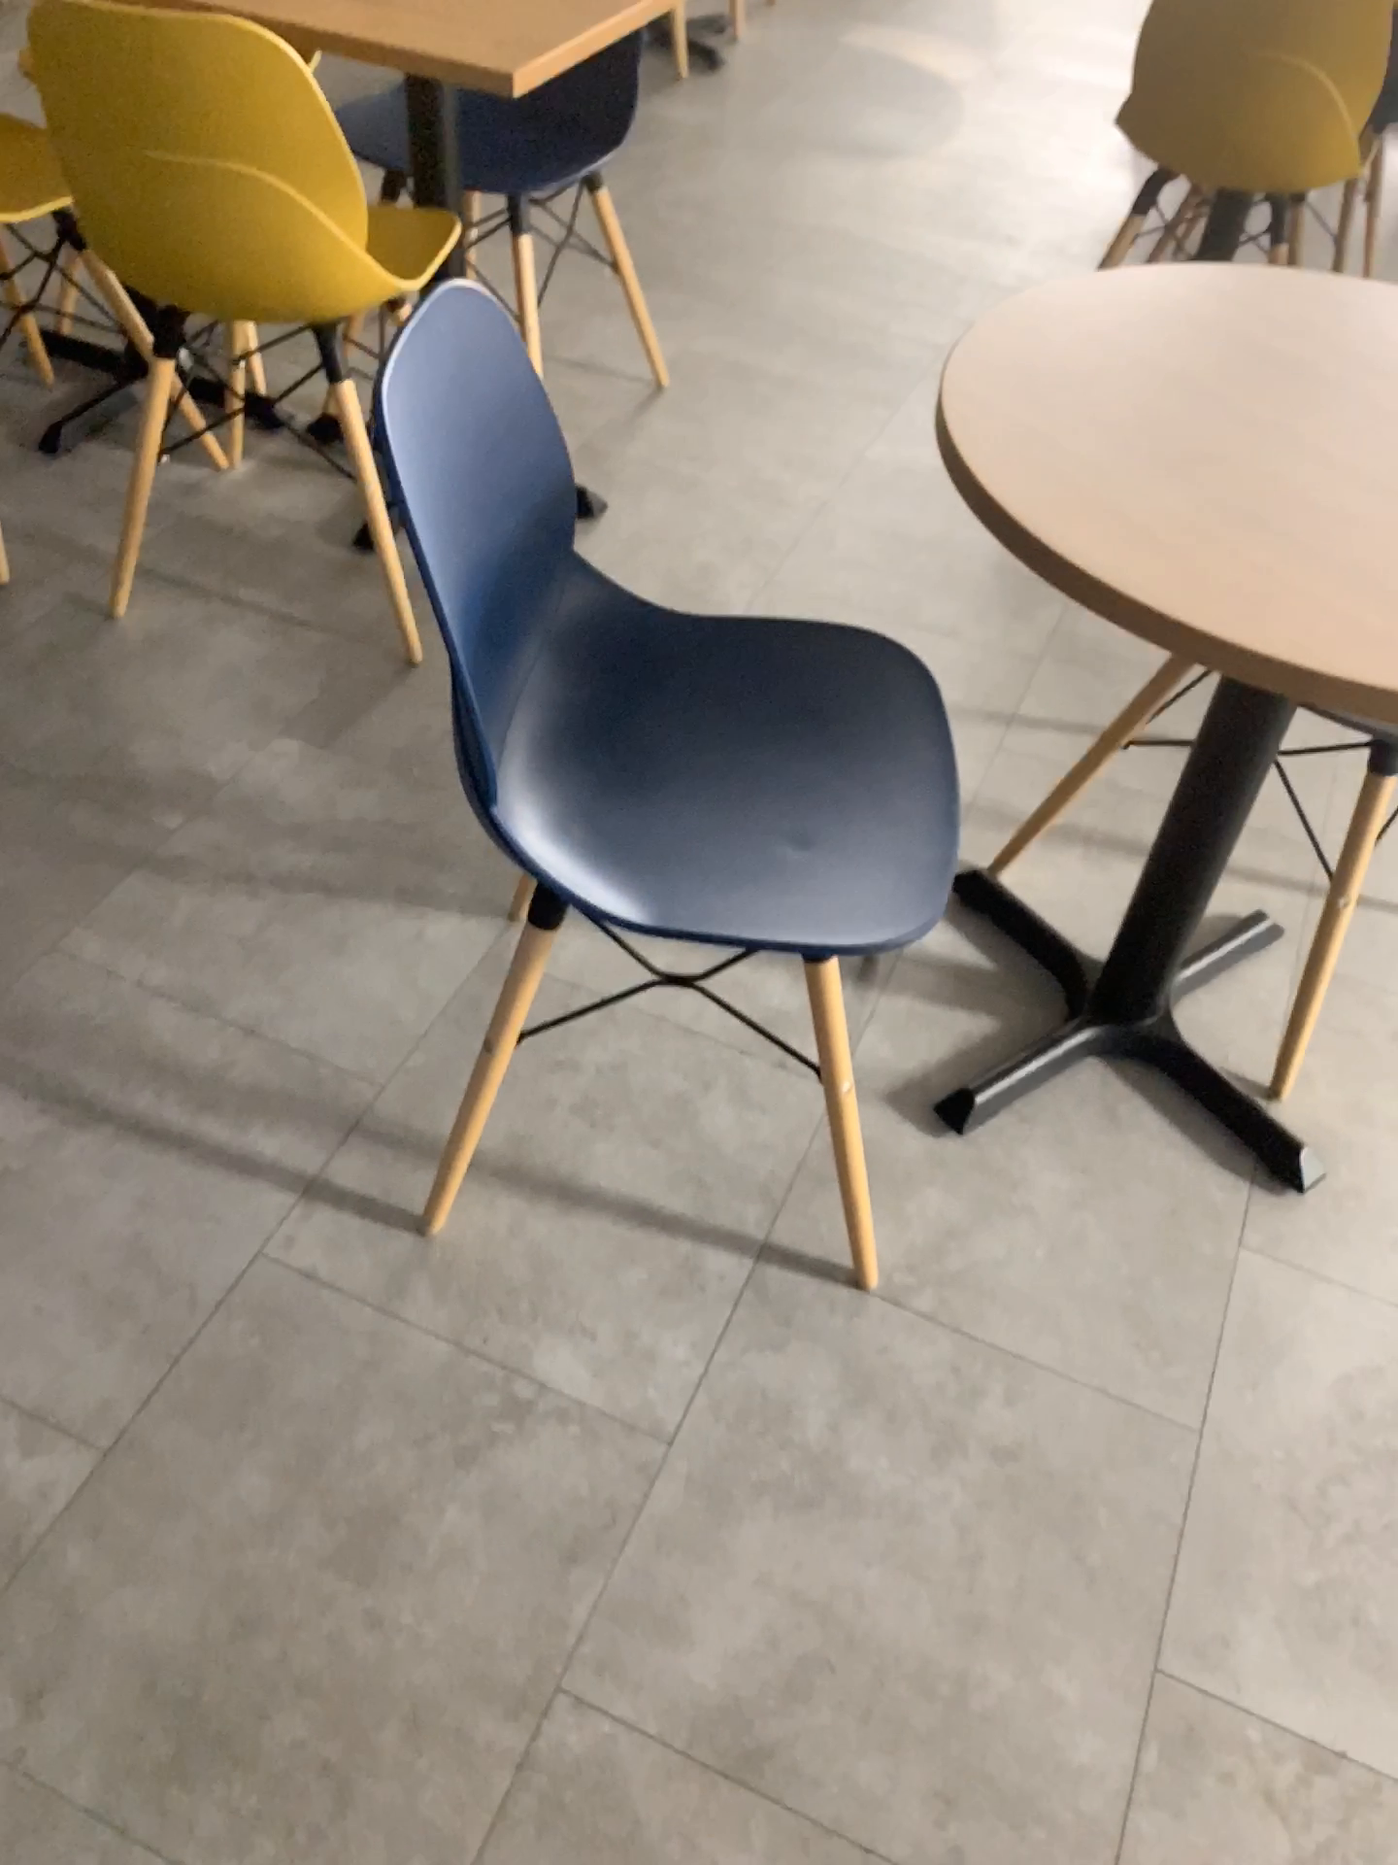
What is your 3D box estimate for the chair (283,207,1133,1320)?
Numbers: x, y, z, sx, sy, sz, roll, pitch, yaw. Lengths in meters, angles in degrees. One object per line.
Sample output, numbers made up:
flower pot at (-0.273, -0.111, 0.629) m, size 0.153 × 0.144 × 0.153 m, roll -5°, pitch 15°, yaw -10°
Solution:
chair at (0.004, -0.110, 1.292) m, size 0.497 × 0.809 × 0.494 m, roll 8°, pitch 46°, yaw 2°
